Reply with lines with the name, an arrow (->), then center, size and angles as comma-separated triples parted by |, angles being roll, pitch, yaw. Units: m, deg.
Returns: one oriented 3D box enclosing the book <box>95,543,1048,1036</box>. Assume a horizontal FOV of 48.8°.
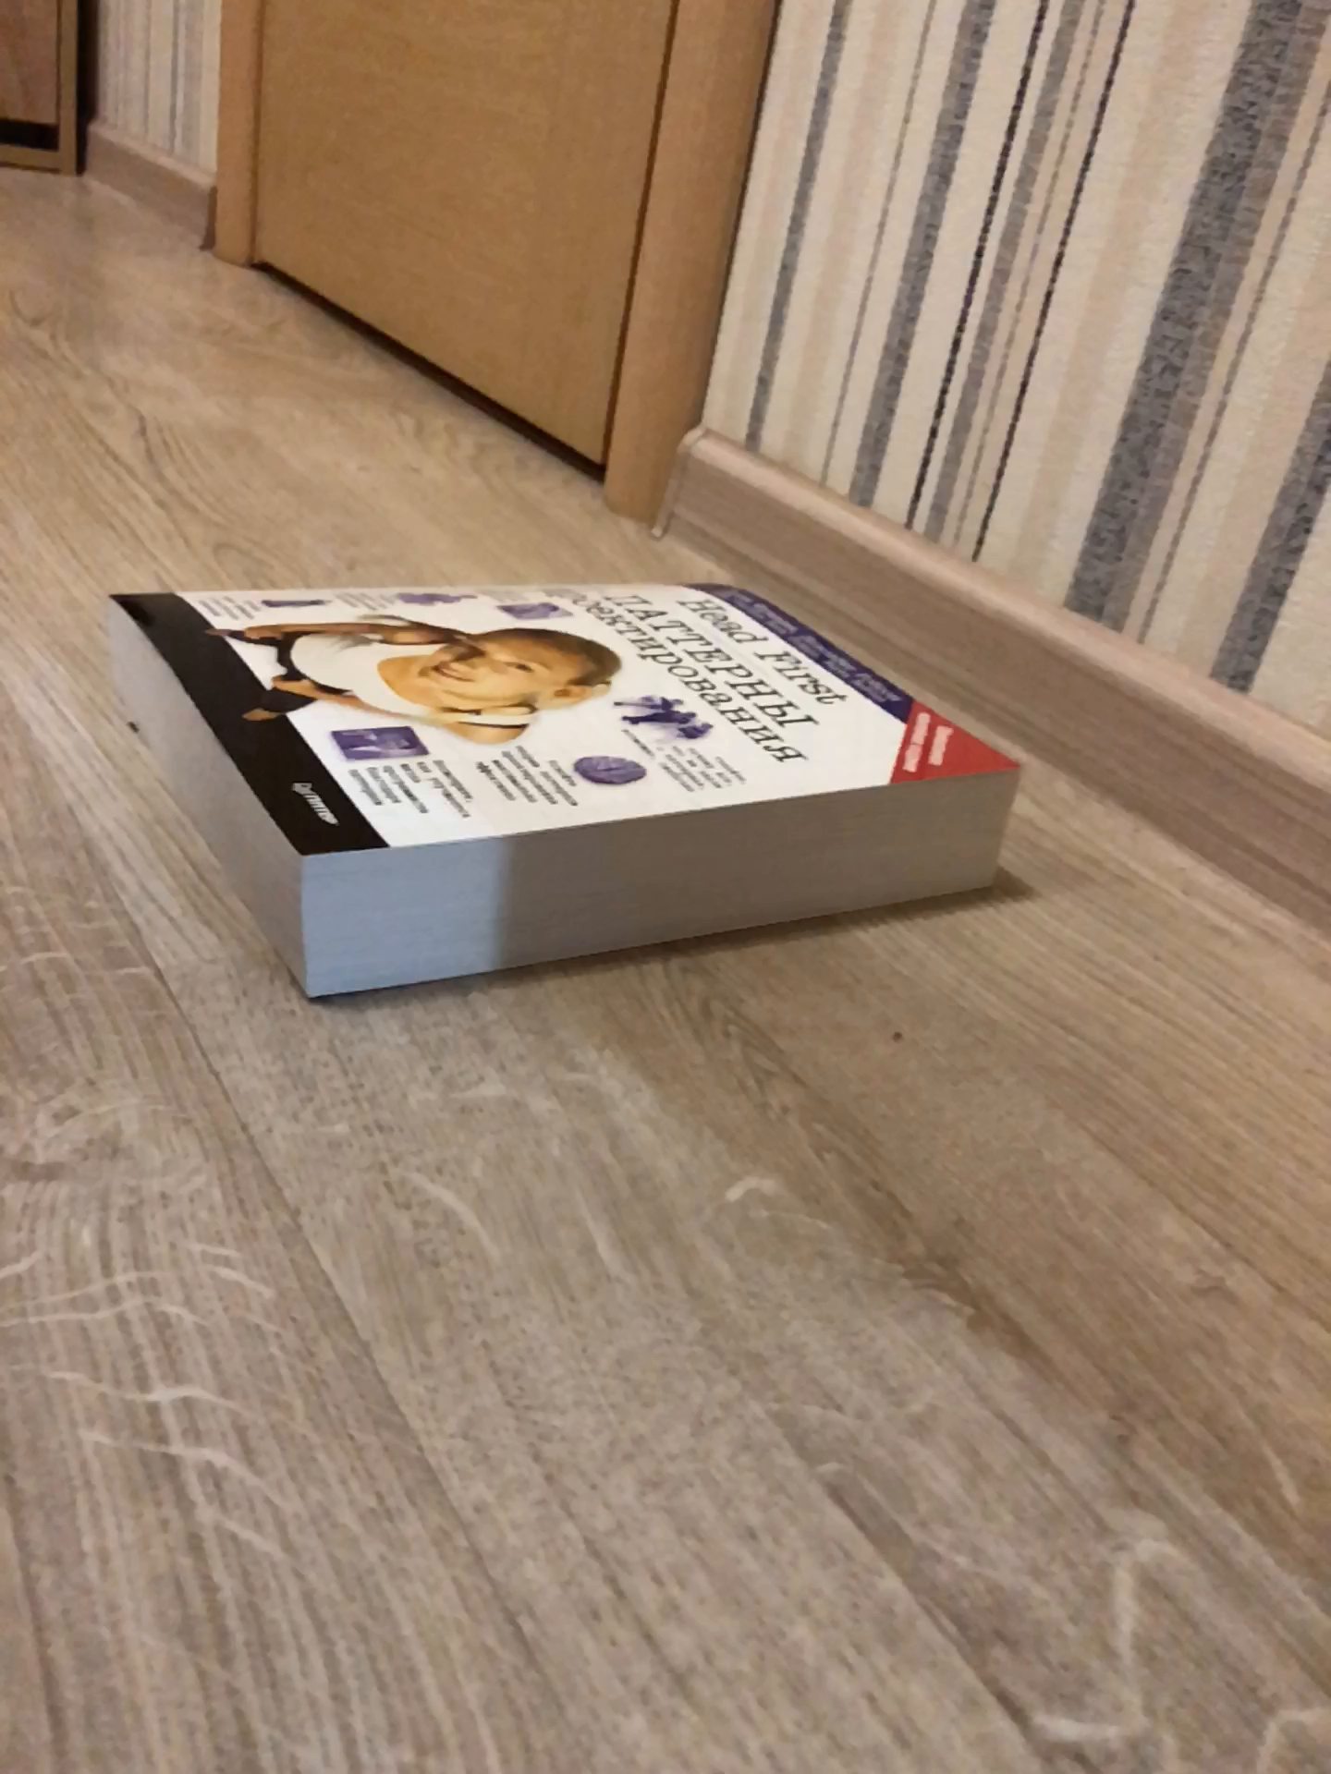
book -> -0.037, -0.053, 0.484 | 0.241, 0.049, 0.207 | -10, 35, -31
